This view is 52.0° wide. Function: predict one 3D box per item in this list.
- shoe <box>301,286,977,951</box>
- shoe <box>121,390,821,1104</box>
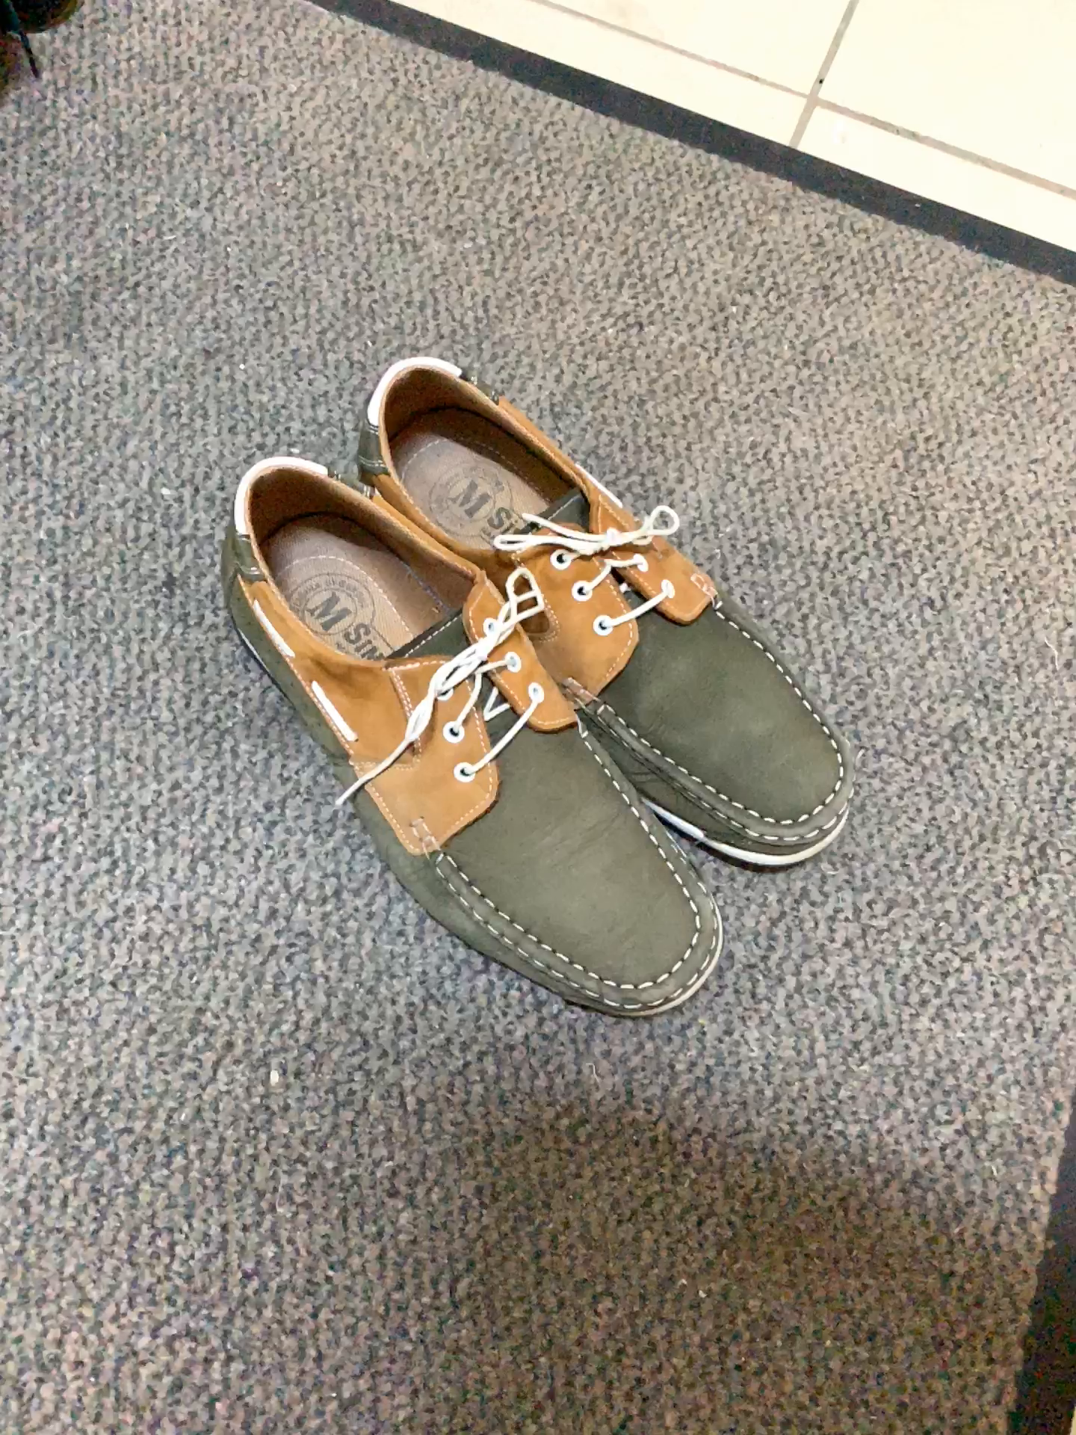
[{"bbox_3d":[0.032,-0.039,0.499,0.270,0.130,0.107,44,72,11],"label":"shoe"},{"bbox_3d":[-0.034,0.018,0.467,0.107,0.130,0.270,-39,77,-17],"label":"shoe"}]
